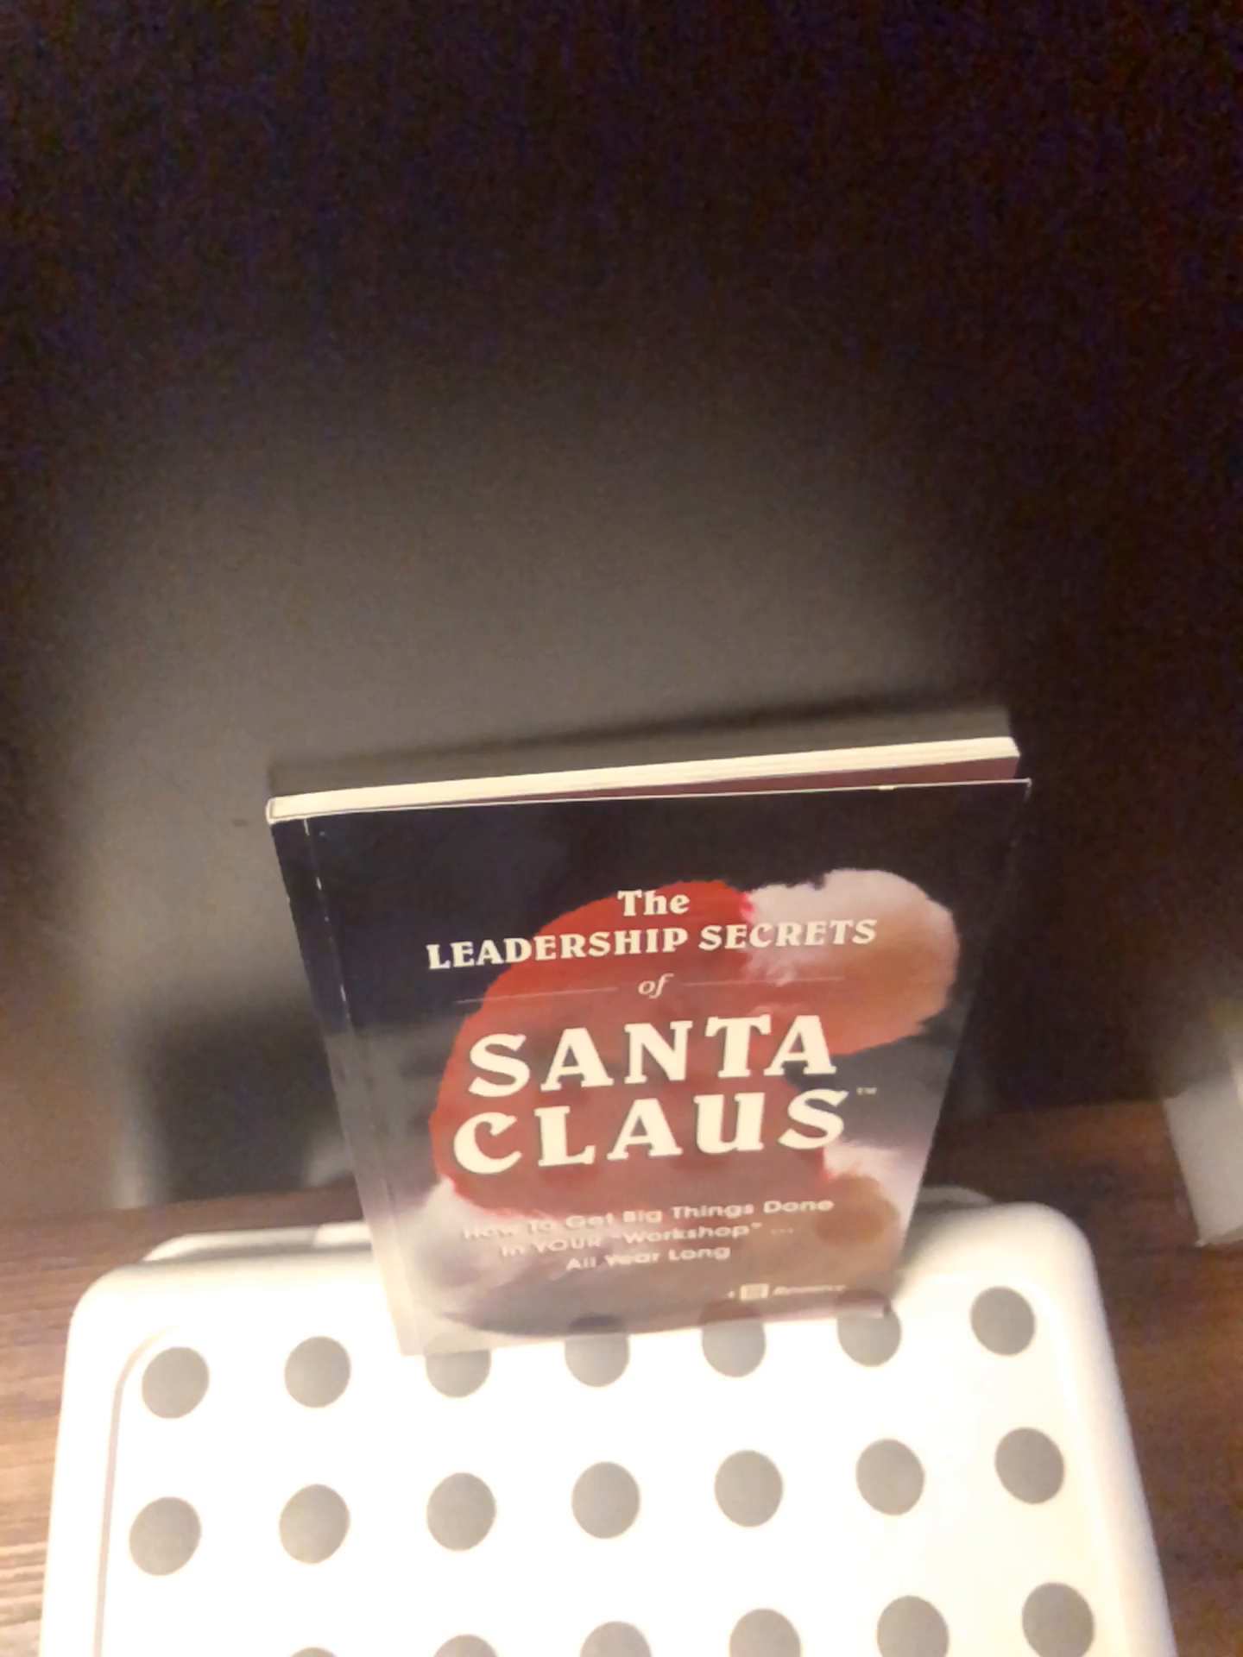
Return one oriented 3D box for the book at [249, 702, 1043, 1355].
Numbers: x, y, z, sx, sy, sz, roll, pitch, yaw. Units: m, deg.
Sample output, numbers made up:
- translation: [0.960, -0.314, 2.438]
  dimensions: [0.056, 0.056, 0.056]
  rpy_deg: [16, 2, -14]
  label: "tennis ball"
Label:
- translation: [0.007, 0.067, 0.357]
  dimensions: [0.160, 0.225, 0.010]
  rpy_deg: [-5, 42, -5]
  label: "book"
